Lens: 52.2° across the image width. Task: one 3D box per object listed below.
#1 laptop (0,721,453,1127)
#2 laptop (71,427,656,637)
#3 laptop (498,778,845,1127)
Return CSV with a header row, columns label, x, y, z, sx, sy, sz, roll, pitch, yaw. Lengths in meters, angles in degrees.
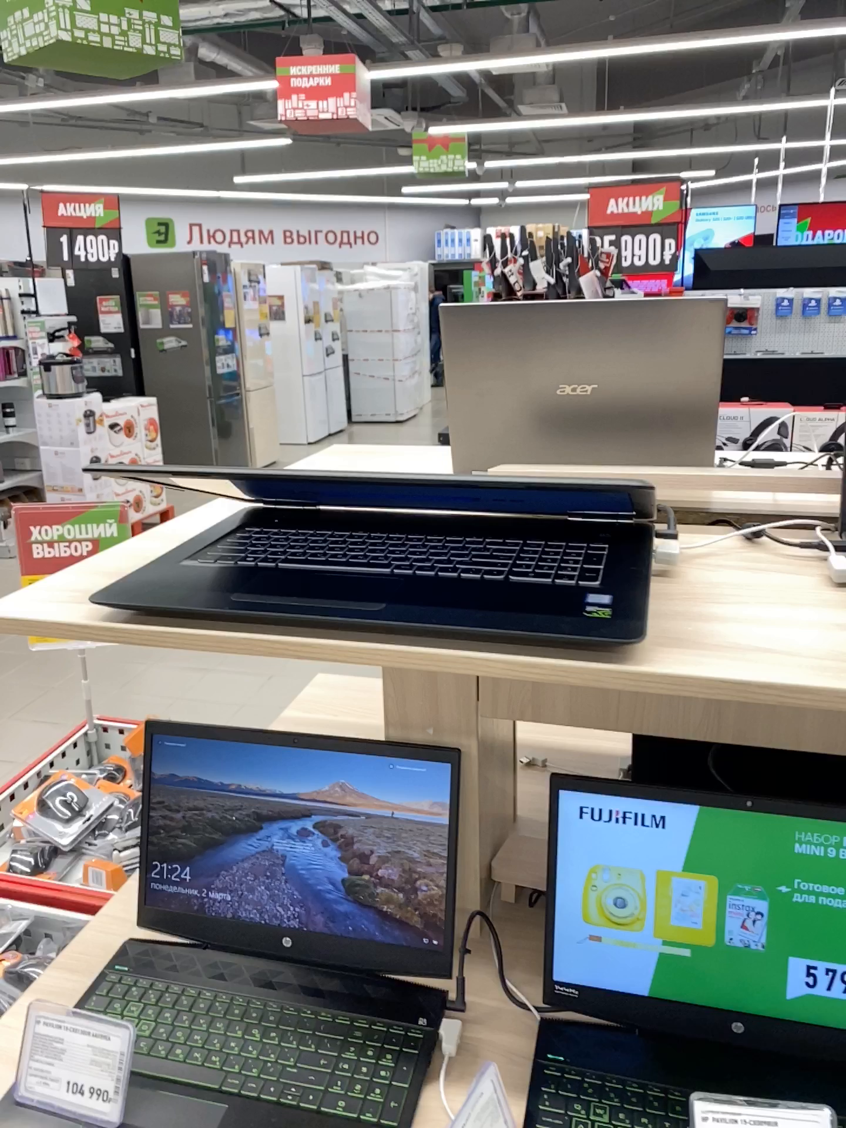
label,x,y,z,sx,sy,sz,roll,pitch,yaw
laptop,-0.171,0.334,0.793,0.344,0.220,0.315,4,16,13
laptop,-0.023,-0.046,0.704,0.404,0.083,0.271,3,18,15
laptop,0.263,0.359,0.663,0.353,0.226,0.299,2,16,15
